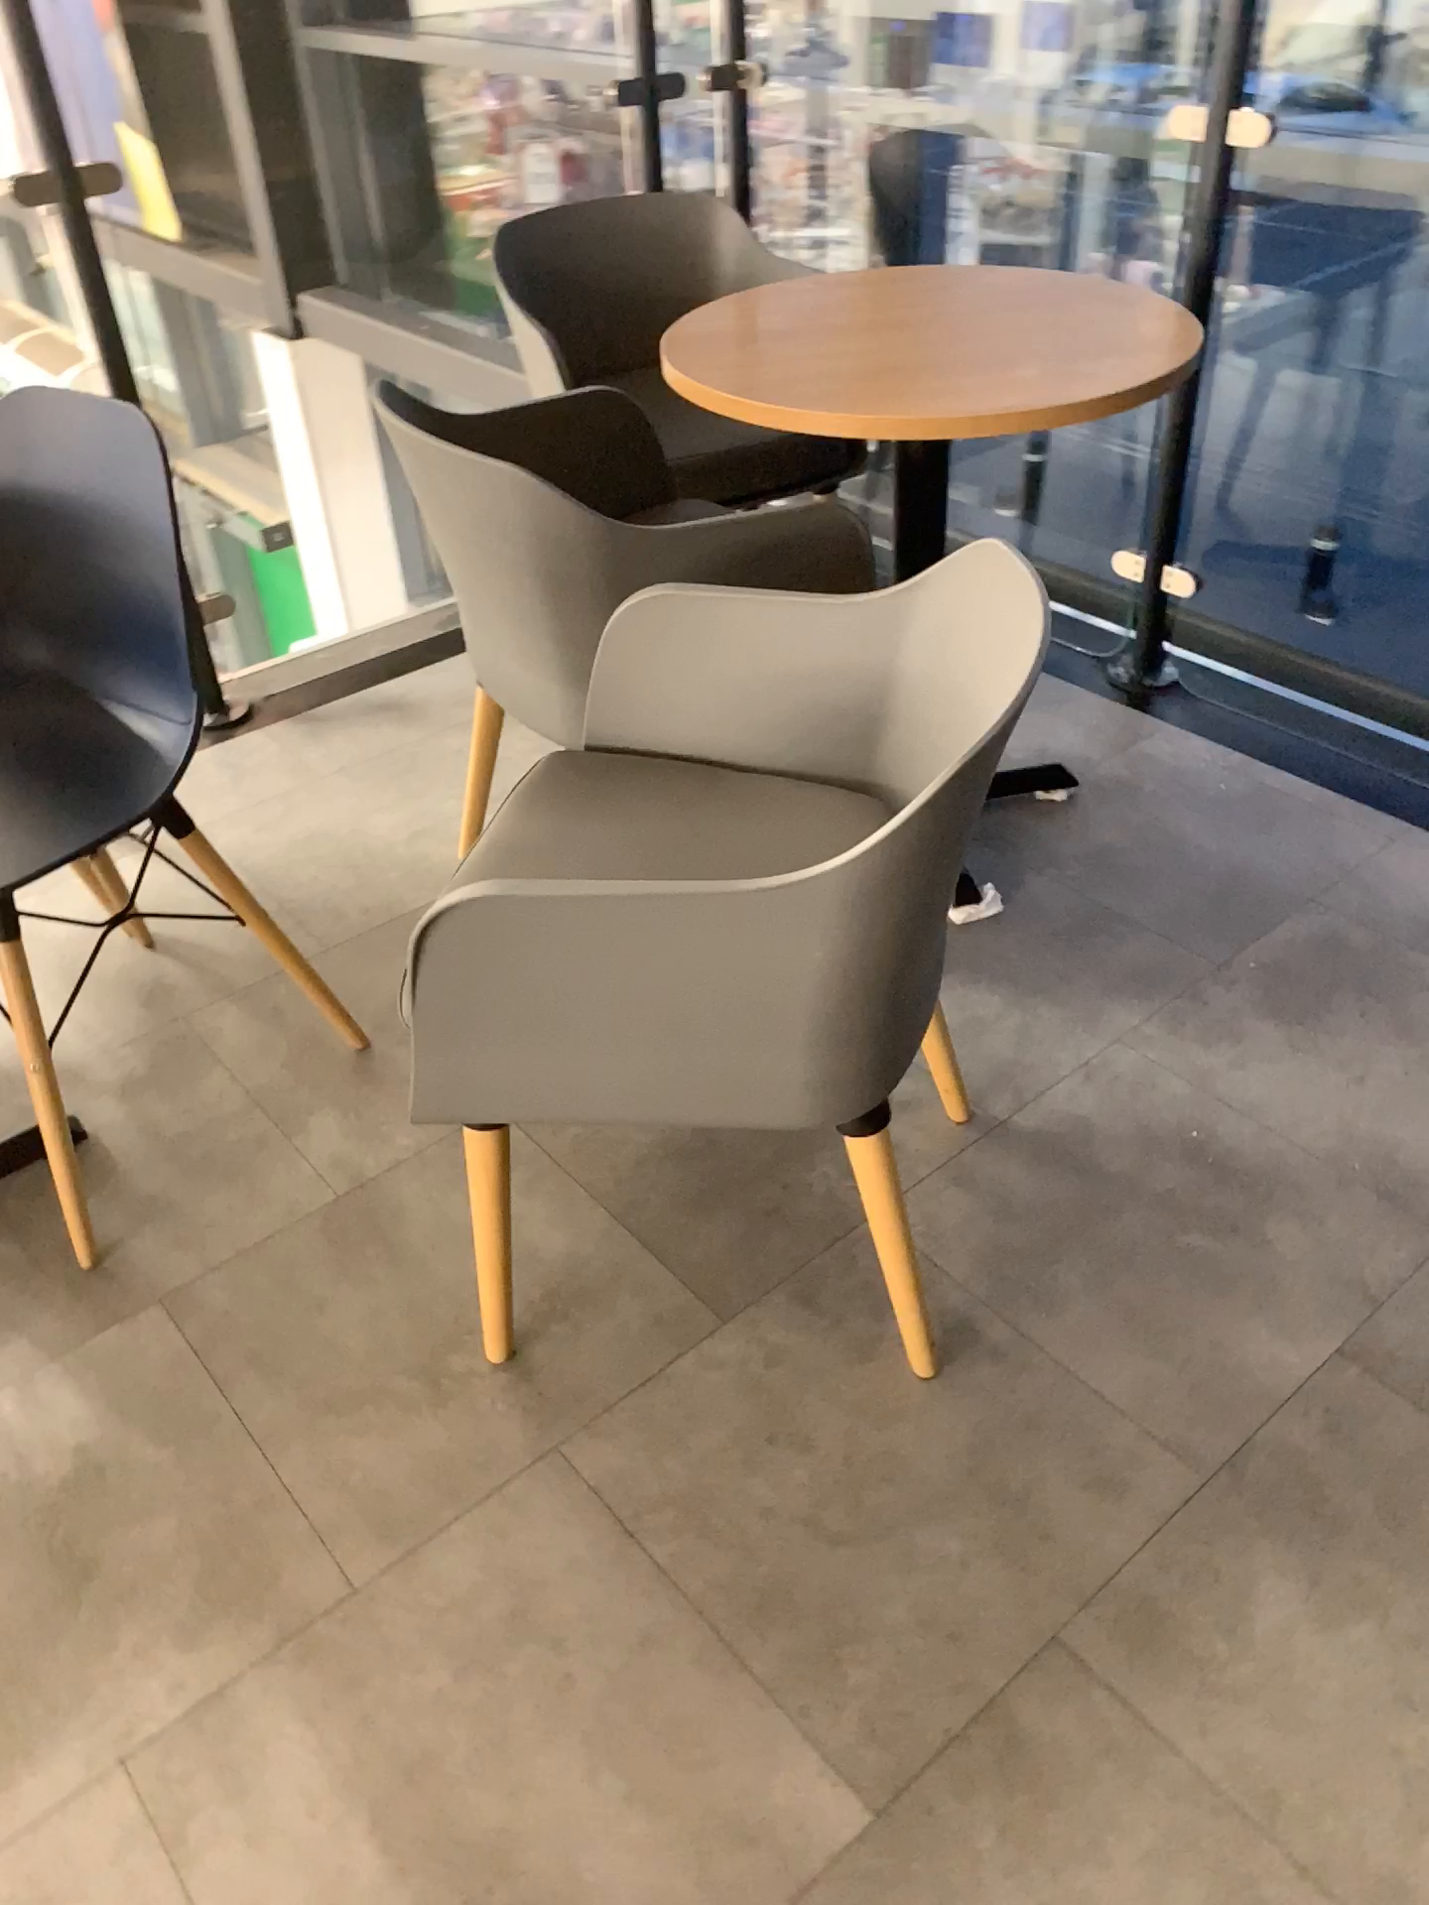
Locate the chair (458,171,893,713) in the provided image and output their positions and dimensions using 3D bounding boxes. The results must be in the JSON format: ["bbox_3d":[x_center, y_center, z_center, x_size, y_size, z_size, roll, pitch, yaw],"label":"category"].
[{"bbox_3d":[-0.060,-0.938,2.627,0.485,0.725,0.584,-24,41,-26],"label":"chair"}]

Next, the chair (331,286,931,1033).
[{"bbox_3d":[-0.097,-0.408,1.944,0.541,0.725,0.517,-21,41,-21],"label":"chair"}]

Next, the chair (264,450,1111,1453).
[{"bbox_3d":[0.032,-0.015,1.407,0.580,0.734,0.548,5,38,10],"label":"chair"}]

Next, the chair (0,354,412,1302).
[{"bbox_3d":[-0.742,-0.150,1.584,0.475,0.784,0.513,19,42,26],"label":"chair"}]
